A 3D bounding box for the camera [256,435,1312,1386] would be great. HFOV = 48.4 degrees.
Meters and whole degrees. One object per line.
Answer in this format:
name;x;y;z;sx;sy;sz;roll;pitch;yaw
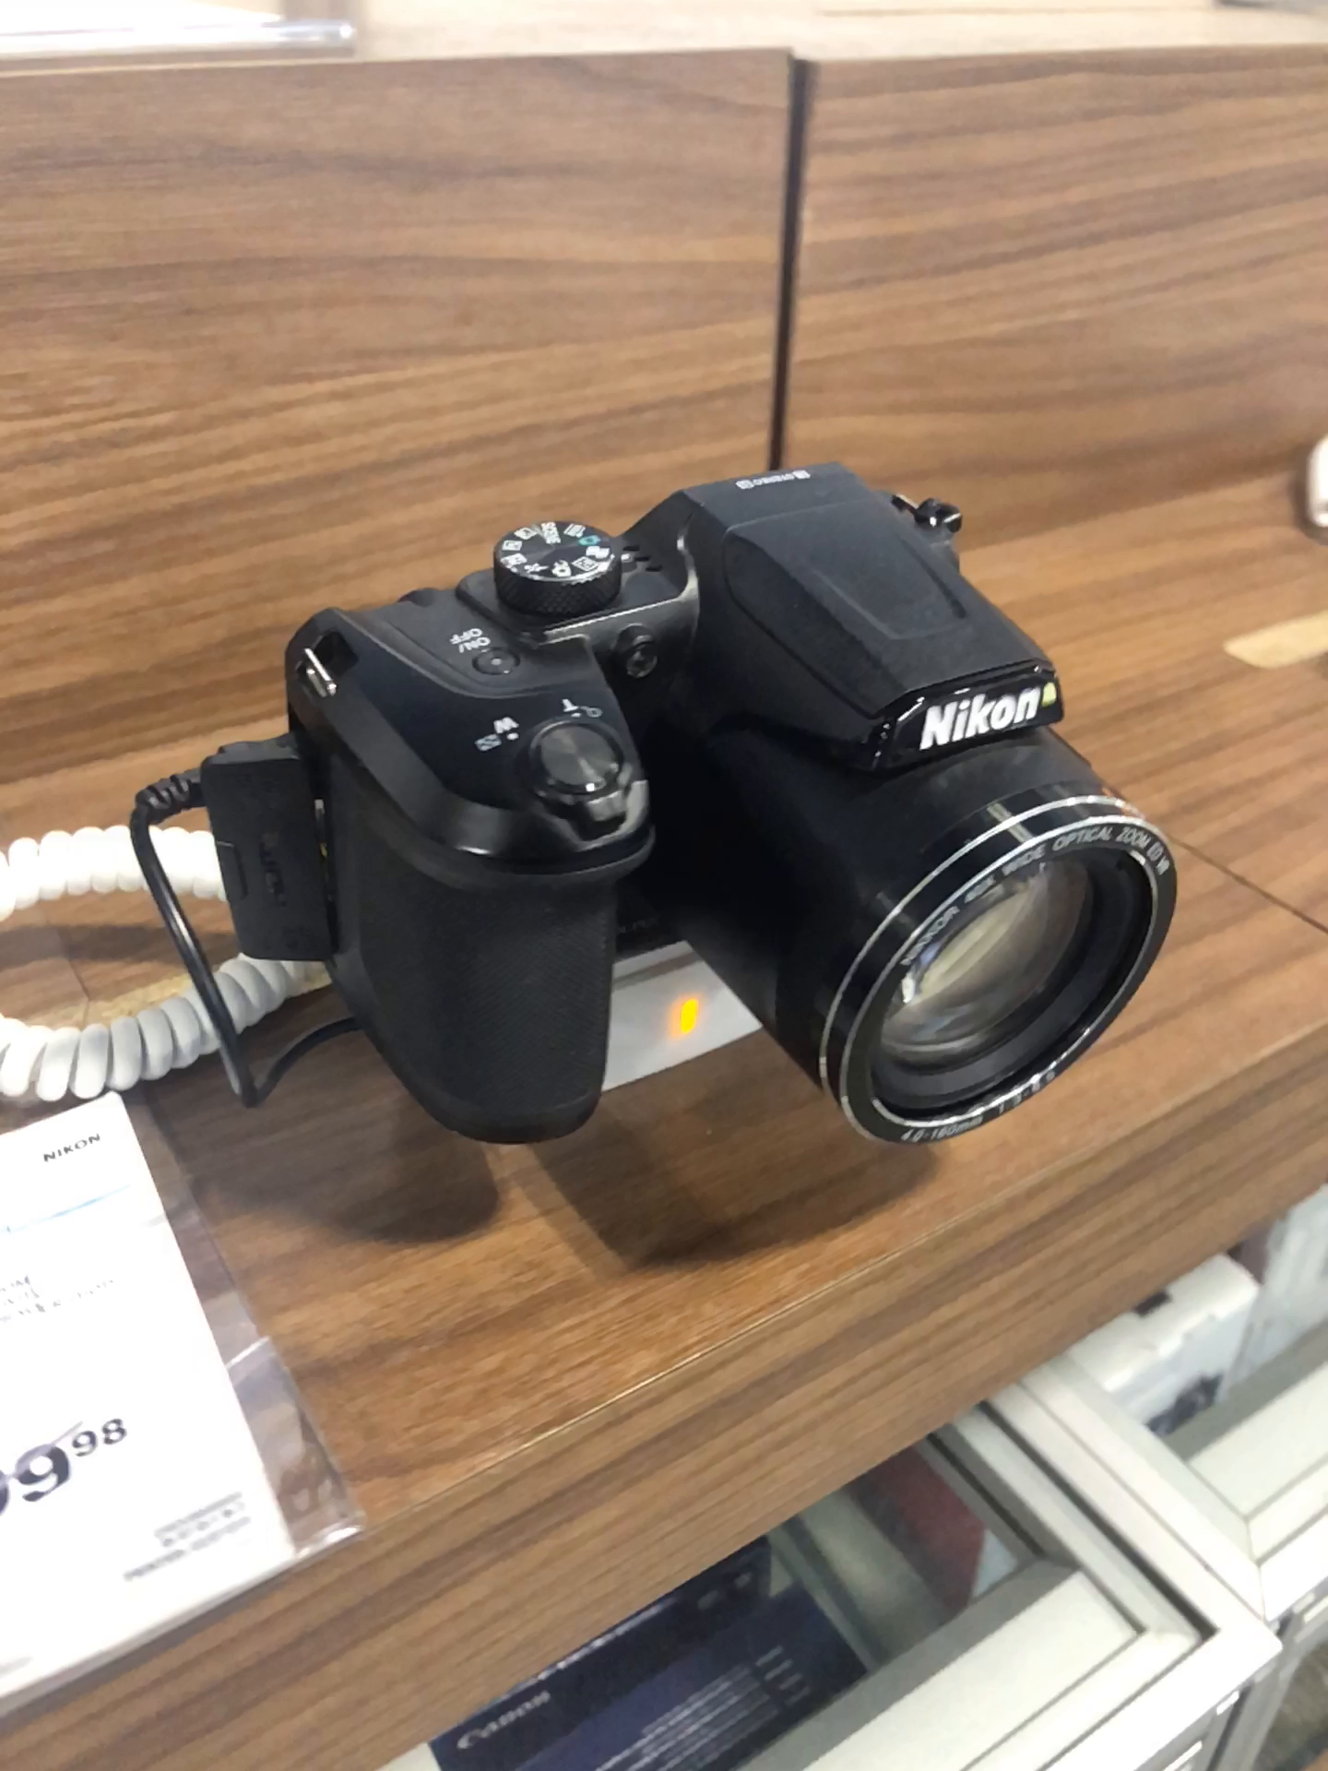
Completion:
camera;0.013;-0.008;0.225;0.110;0.079;0.096;-19;38;-27
